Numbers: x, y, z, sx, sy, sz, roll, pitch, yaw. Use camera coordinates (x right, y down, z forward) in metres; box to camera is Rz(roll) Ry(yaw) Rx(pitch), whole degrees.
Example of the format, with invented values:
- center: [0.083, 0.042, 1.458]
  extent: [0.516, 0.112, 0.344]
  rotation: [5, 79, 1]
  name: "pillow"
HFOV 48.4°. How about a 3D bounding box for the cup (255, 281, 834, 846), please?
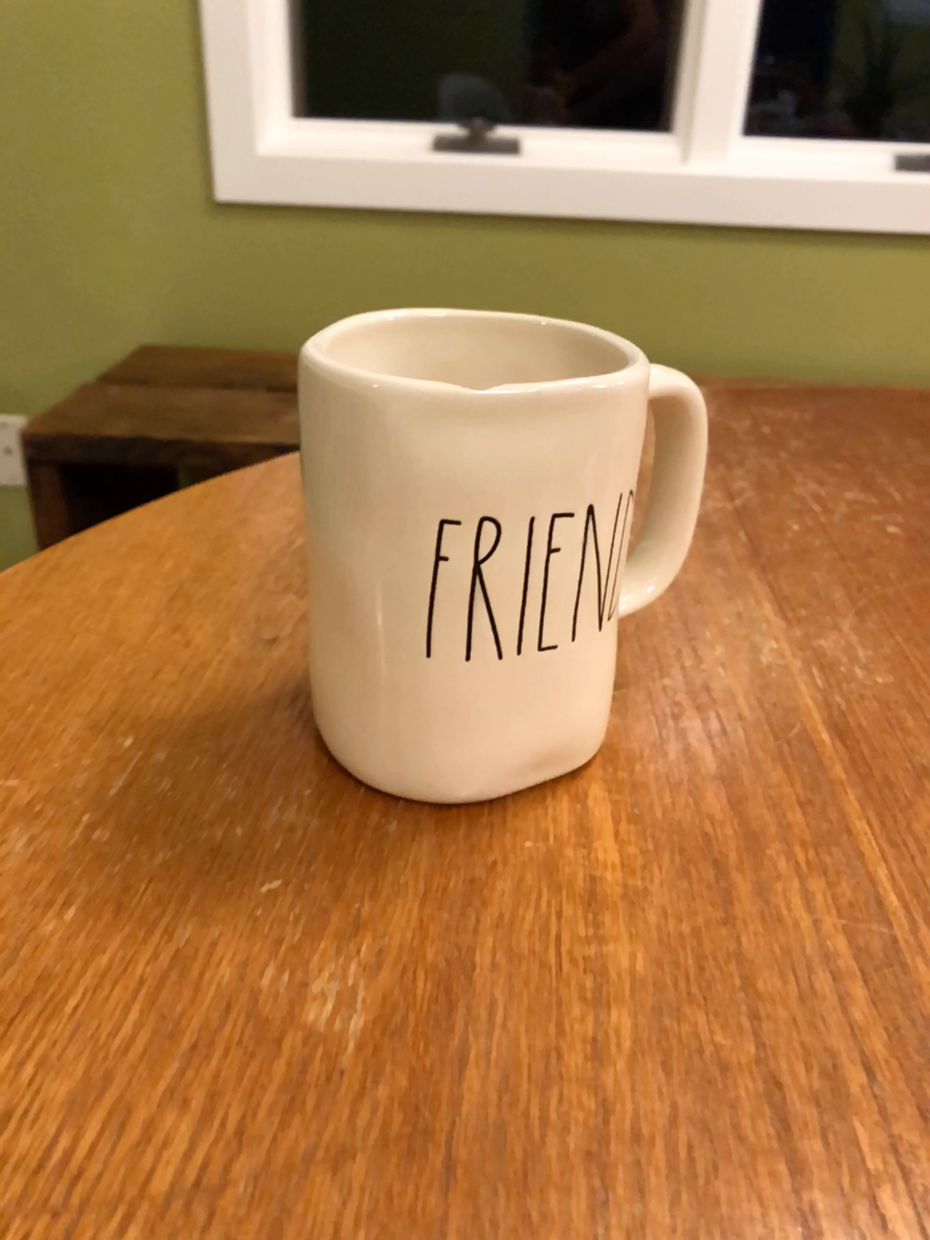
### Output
- center: [0.019, -0.026, 0.293]
  extent: [0.125, 0.114, 0.084]
  rotation: [-15, 32, -30]
  name: "cup"
